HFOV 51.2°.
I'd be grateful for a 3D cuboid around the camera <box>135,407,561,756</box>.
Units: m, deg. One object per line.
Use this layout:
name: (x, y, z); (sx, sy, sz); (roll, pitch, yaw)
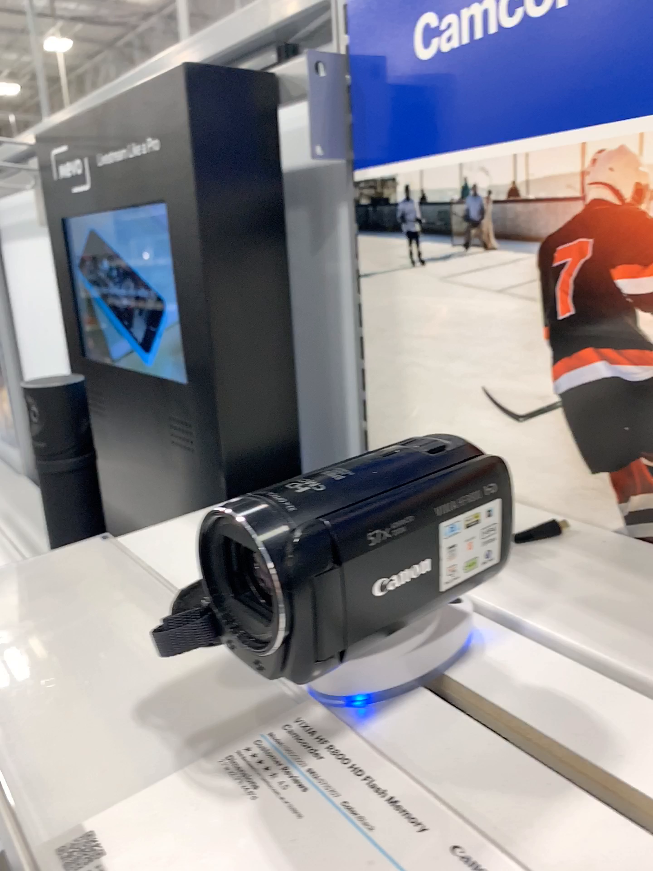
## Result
camera: (0.013, 0.039, 0.253); (0.139, 0.062, 0.072); (-16, 20, -36)
